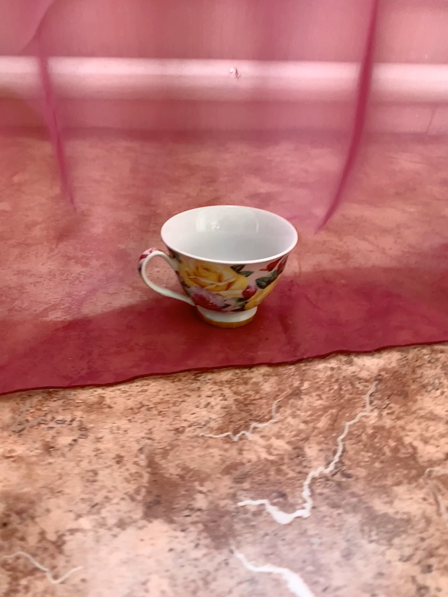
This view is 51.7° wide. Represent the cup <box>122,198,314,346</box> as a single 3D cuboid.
[{"bbox_3d":[-0.009,-0.023,0.319,0.109,0.060,0.079,-7,34,-15],"label":"cup"}]
